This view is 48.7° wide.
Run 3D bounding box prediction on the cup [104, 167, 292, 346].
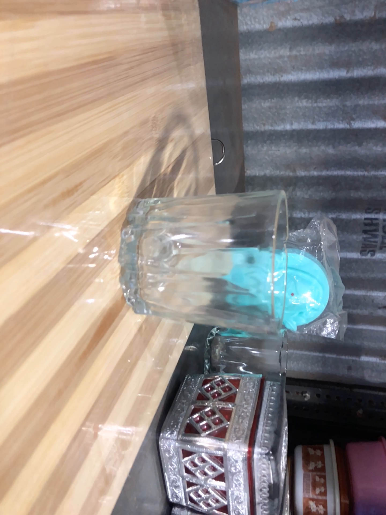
[{"bbox_3d":[0.011,0.005,0.235,0.080,0.080,0.080,2,90,-75],"label":"cup"}]
